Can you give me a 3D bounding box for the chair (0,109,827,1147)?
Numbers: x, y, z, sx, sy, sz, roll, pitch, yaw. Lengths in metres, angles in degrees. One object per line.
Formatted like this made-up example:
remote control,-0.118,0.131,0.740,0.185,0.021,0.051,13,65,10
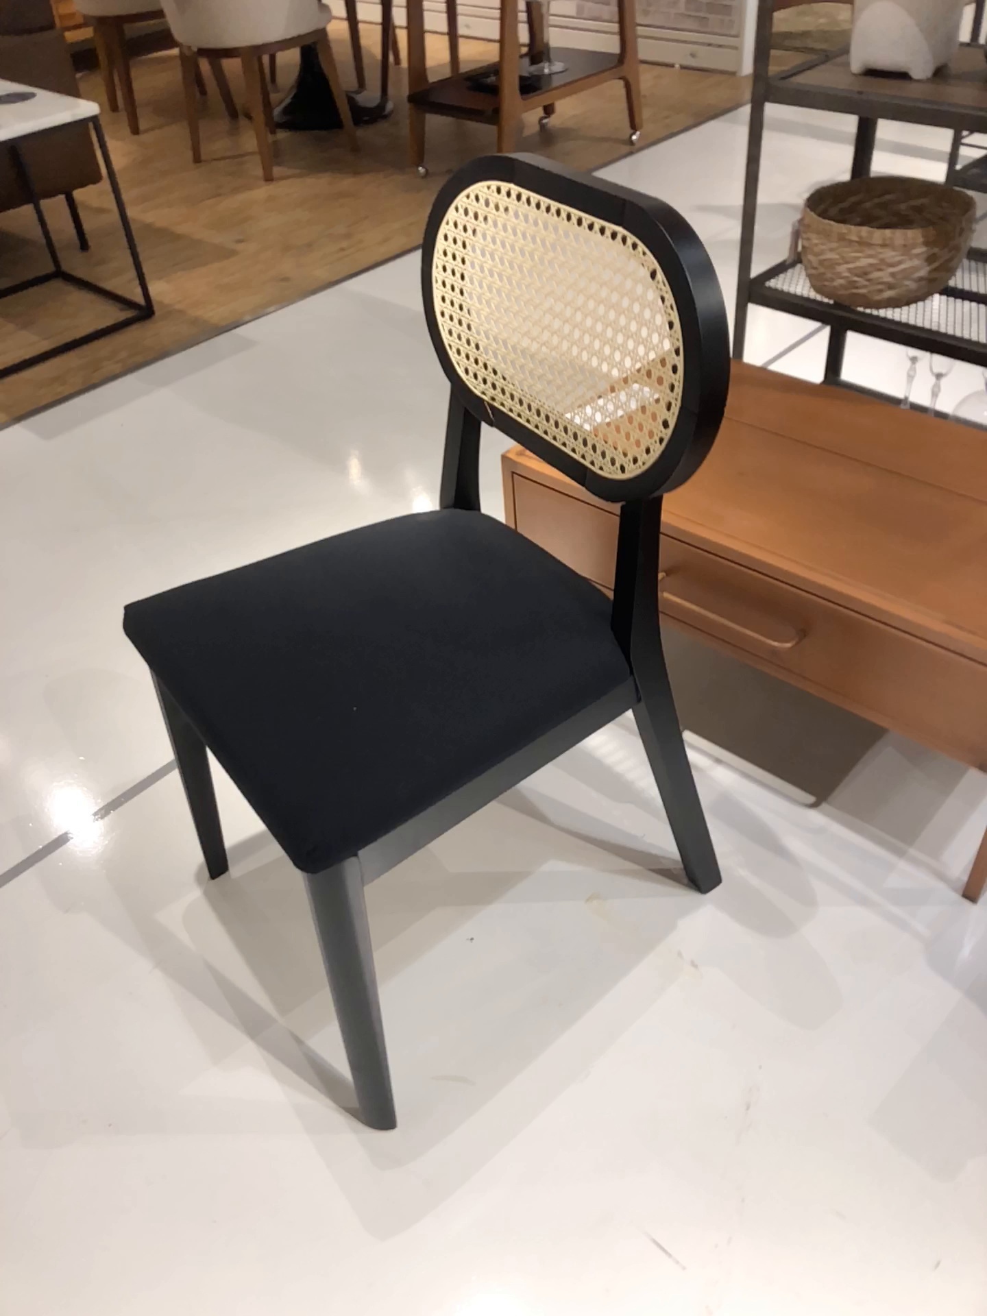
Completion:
chair,-0.081,-0.039,1.140,0.542,0.804,0.502,-29,46,-25
